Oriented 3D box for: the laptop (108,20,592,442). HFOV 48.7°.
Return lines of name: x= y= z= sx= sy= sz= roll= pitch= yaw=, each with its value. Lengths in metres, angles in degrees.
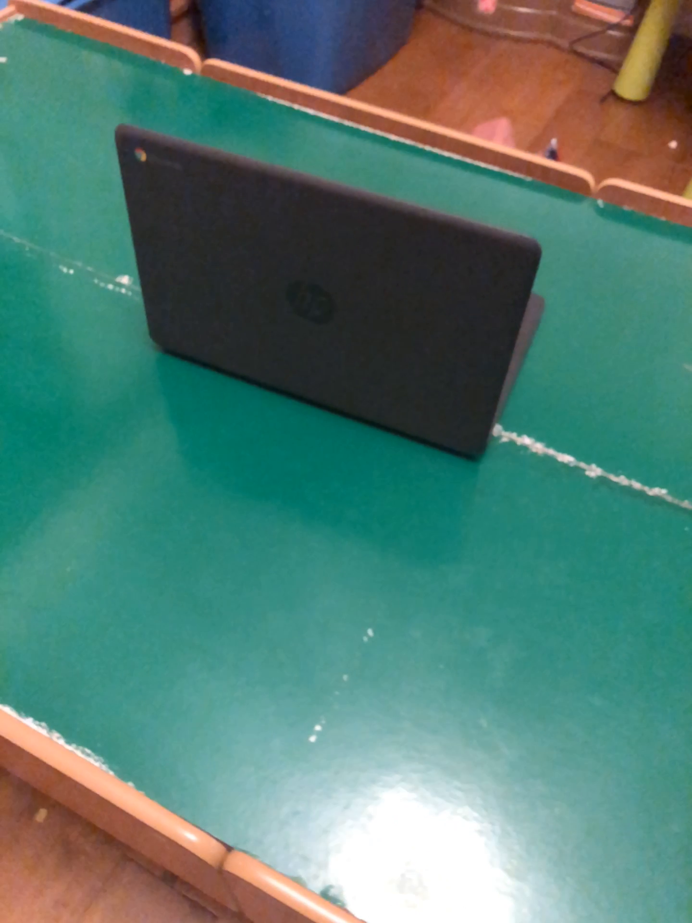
laptop: x=0.010 y=-0.205 z=0.670 sx=0.317 sy=0.204 sz=0.211 roll=19 pitch=53 yaw=11
